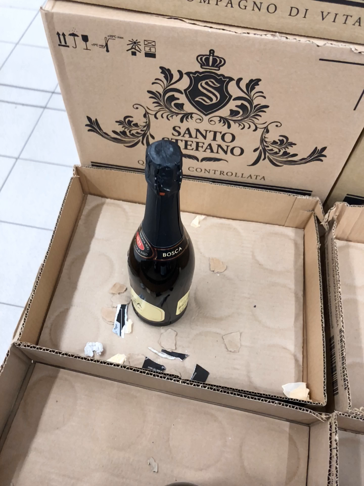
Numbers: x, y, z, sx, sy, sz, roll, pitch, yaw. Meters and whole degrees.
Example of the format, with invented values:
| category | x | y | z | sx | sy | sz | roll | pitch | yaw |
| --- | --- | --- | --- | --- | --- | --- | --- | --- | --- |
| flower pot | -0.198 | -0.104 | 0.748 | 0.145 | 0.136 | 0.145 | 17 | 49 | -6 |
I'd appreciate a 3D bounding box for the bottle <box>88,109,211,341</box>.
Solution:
| category | x | y | z | sx | sy | sz | roll | pitch | yaw |
| --- | --- | --- | --- | --- | --- | --- | --- | --- | --- |
| bottle | -0.030 | 0.010 | 0.449 | 0.080 | 0.308 | 0.090 | -12 | 60 | -8 |
